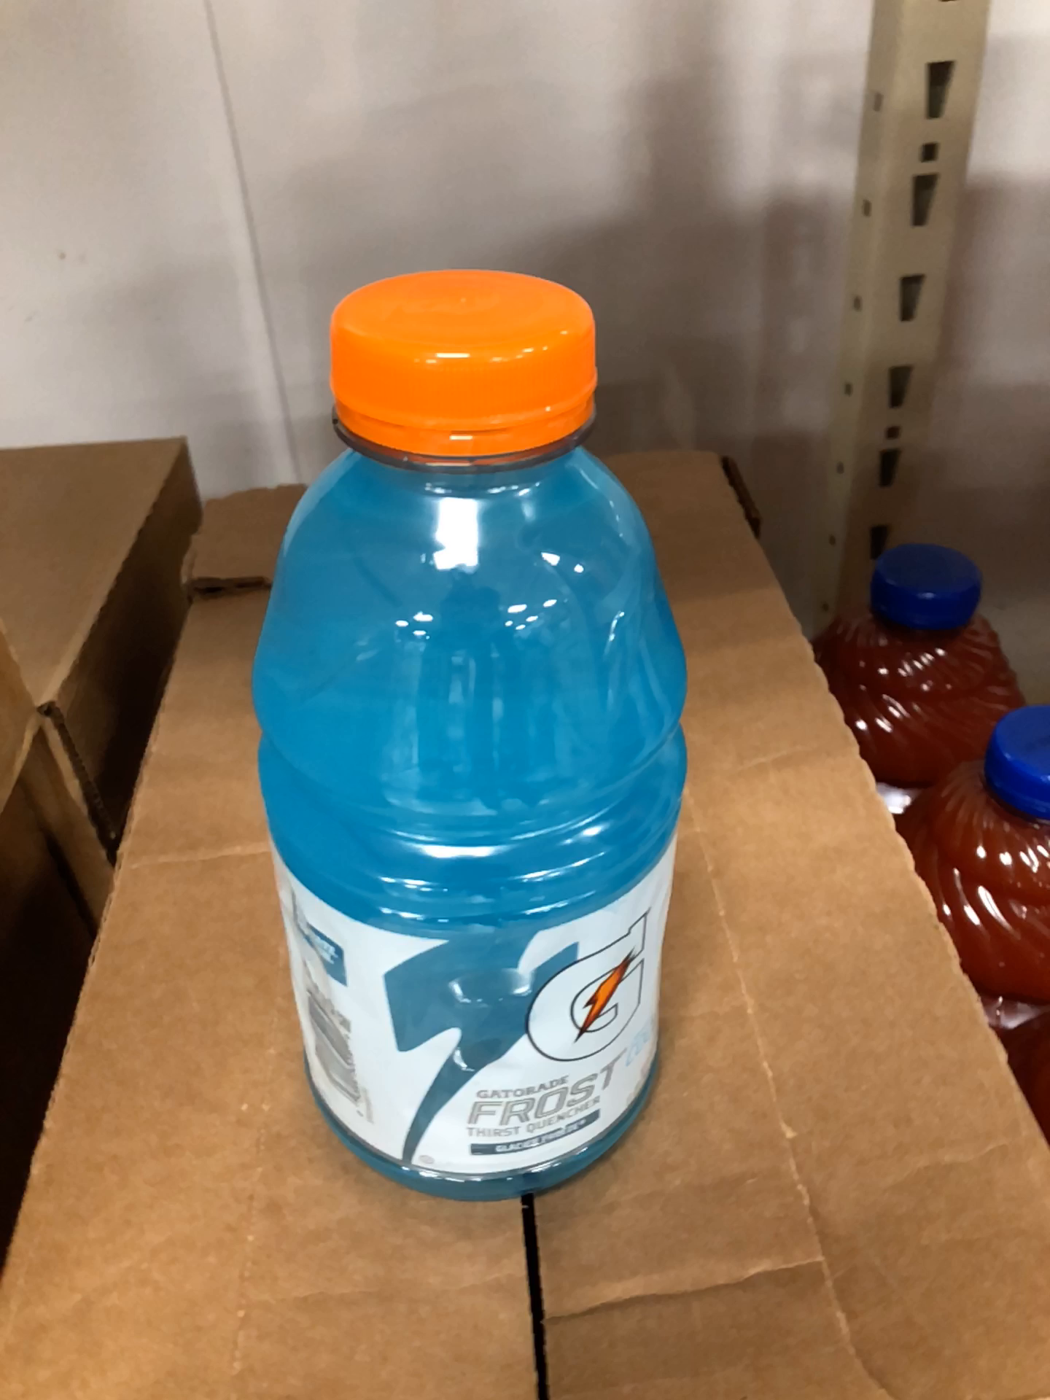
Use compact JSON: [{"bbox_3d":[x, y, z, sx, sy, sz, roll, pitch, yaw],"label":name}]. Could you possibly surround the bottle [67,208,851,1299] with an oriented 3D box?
[{"bbox_3d":[-0.010,0.014,0.257,0.100,0.199,0.090,-25,41,-27],"label":"bottle"}]
